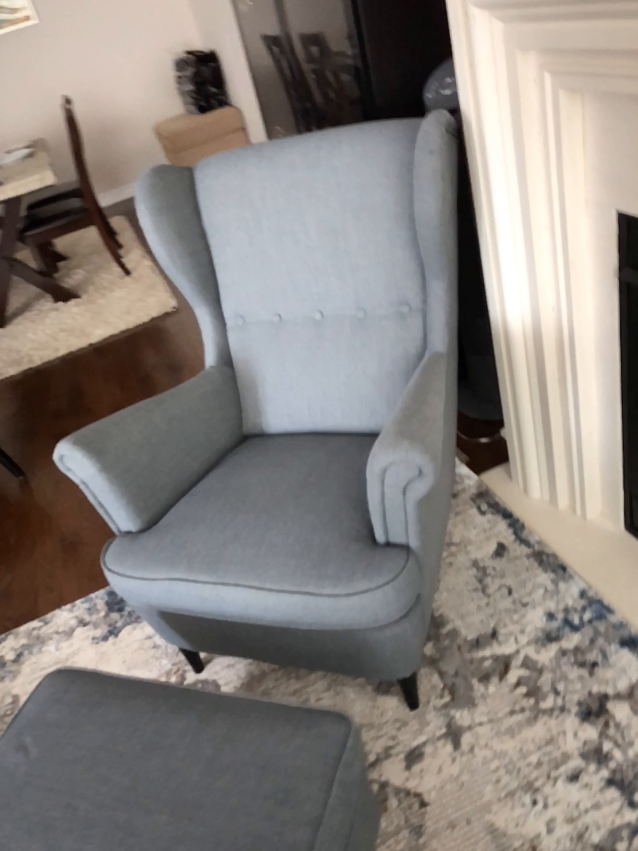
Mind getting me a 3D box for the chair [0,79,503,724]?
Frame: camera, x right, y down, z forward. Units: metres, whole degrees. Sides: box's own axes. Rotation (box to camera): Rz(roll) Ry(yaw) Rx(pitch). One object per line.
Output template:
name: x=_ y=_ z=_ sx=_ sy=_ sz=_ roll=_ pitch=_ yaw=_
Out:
chair: x=-0.103 y=-0.065 z=1.542 sx=0.801 sy=0.966 sz=0.853 roll=-2 pitch=36 yaw=23
